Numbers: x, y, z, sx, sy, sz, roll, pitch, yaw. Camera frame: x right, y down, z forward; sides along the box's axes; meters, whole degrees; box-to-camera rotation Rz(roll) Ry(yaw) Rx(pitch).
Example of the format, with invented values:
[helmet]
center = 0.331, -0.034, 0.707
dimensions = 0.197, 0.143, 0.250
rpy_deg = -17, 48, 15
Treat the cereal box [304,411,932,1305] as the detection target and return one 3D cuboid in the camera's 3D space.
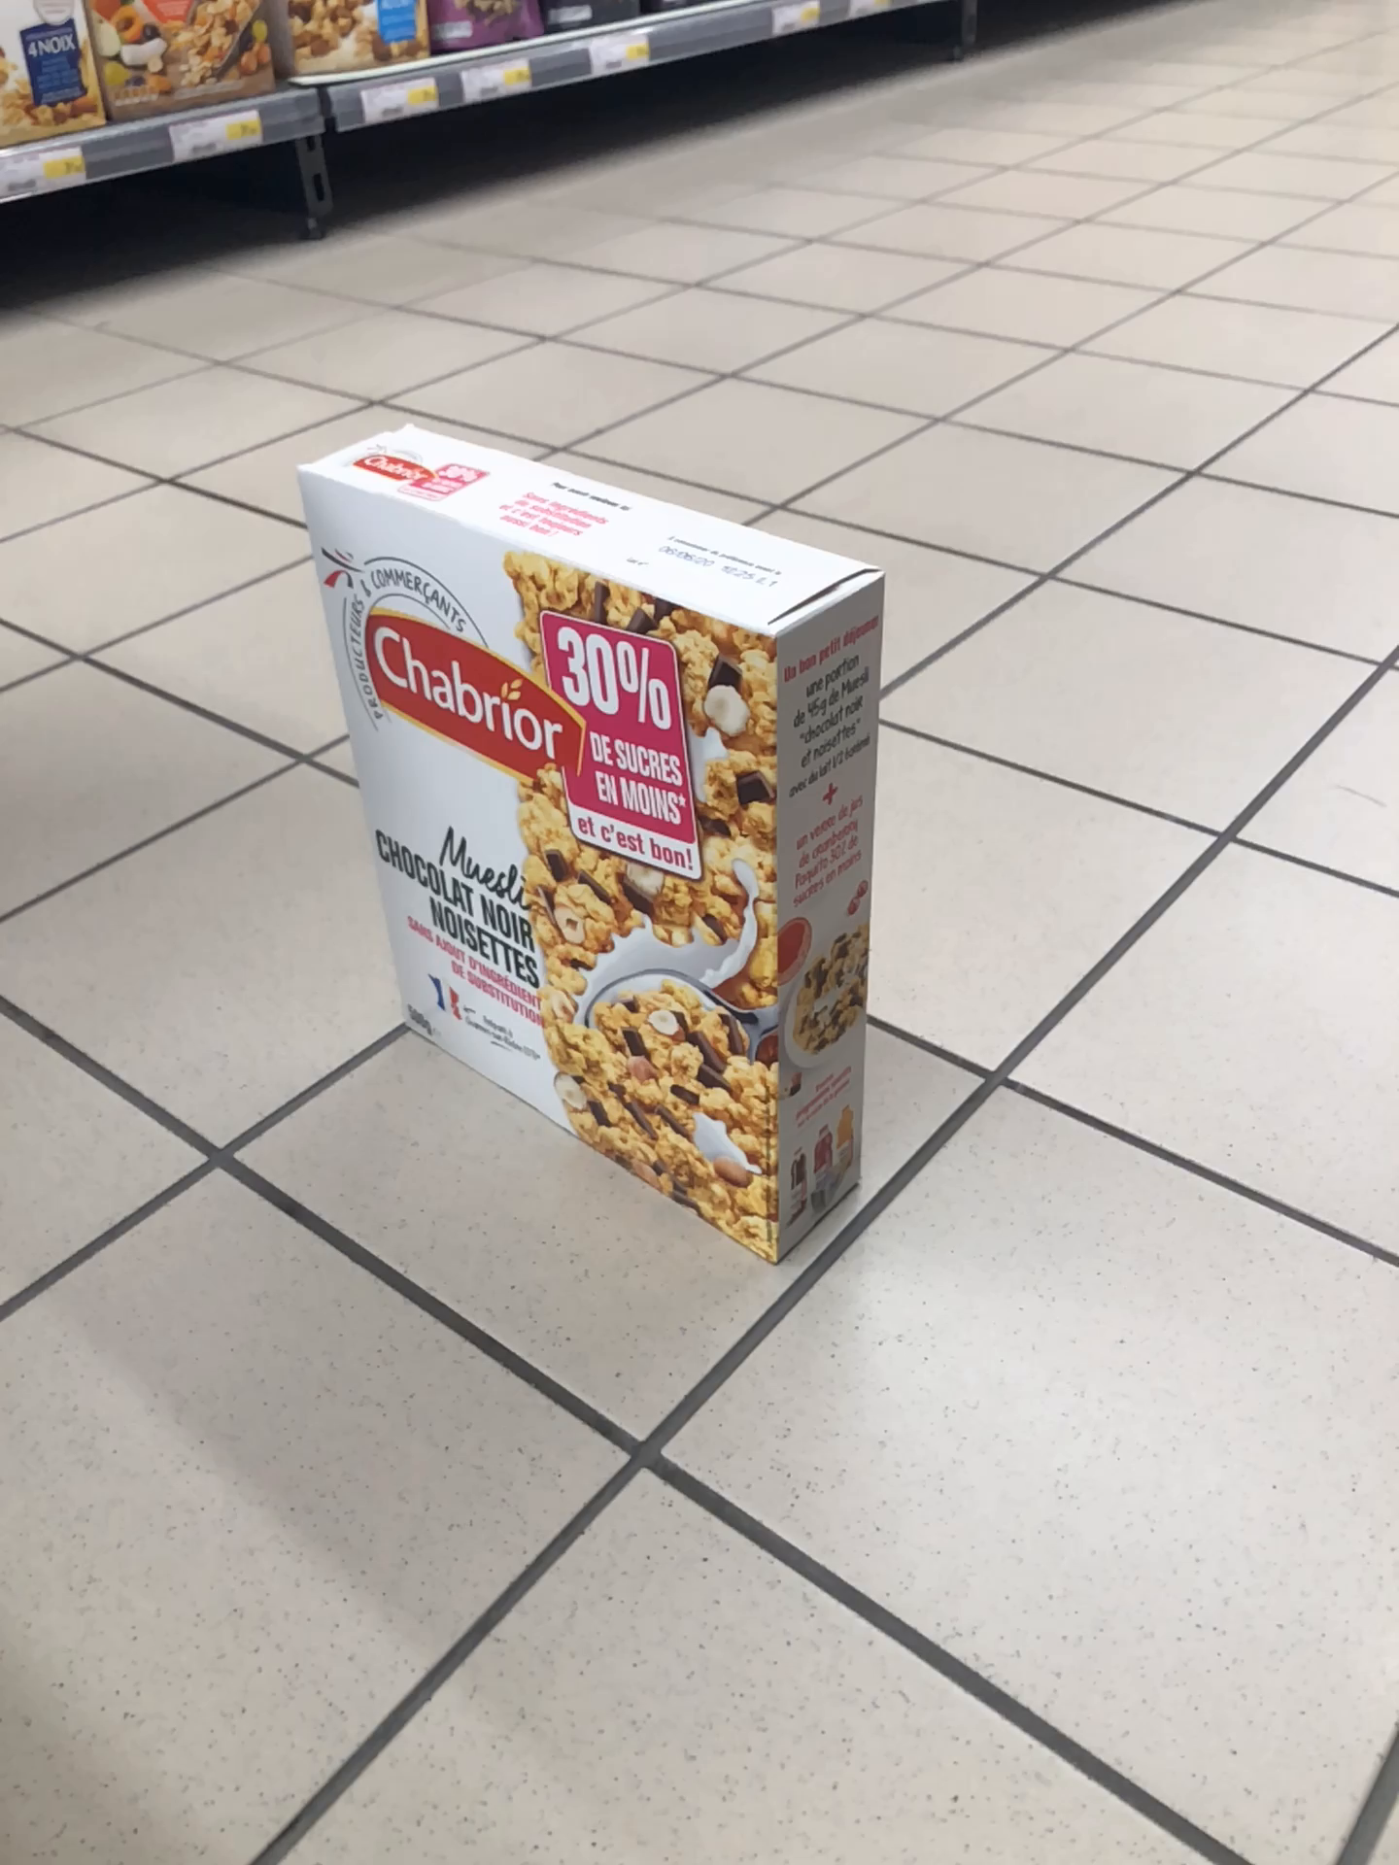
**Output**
[cereal box]
center = -0.027, -0.025, 0.503
dimensions = 0.200, 0.239, 0.050
rpy_deg = 27, 45, 34
